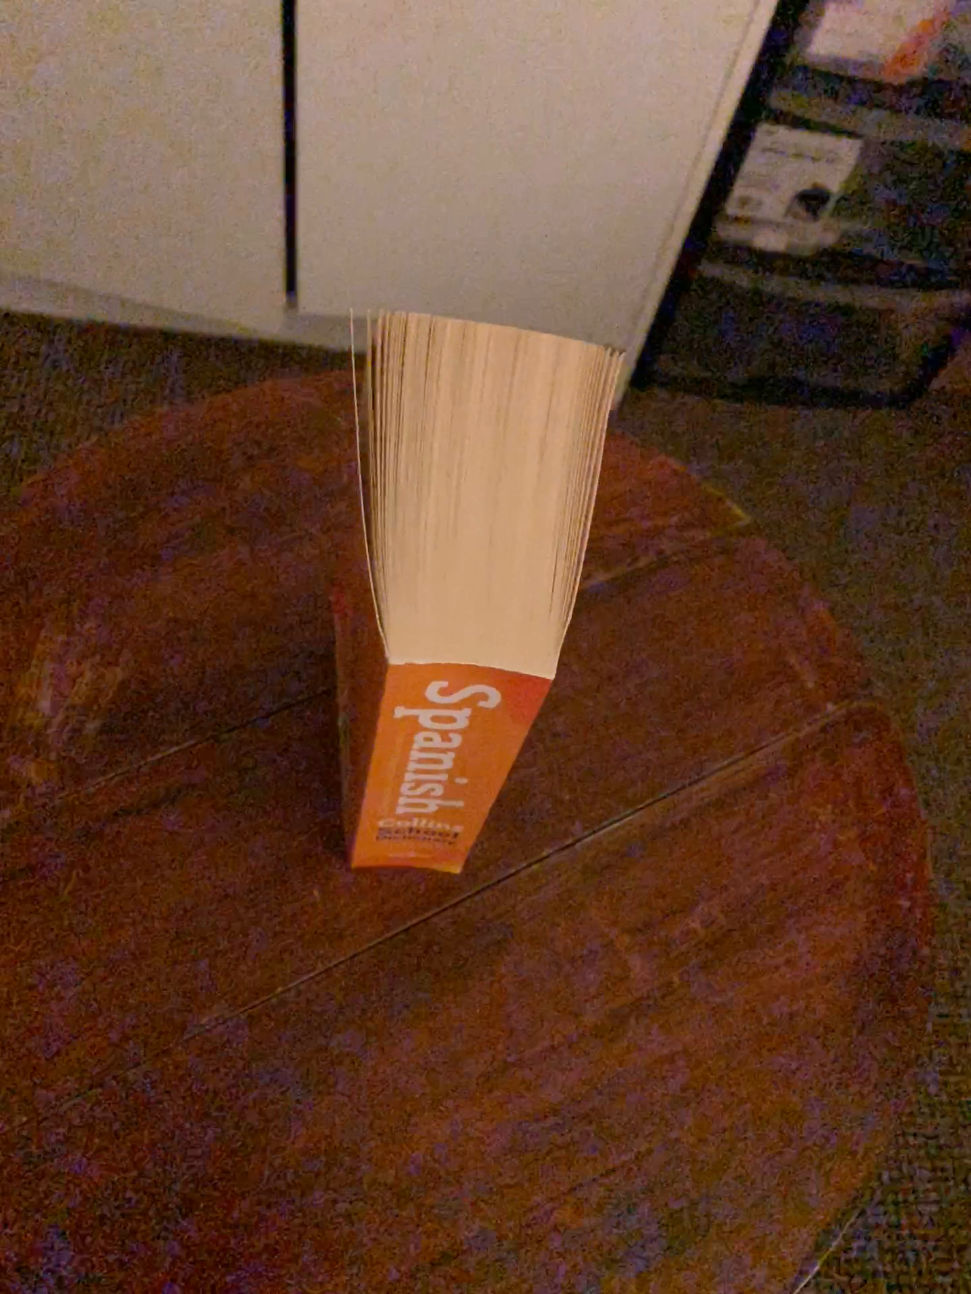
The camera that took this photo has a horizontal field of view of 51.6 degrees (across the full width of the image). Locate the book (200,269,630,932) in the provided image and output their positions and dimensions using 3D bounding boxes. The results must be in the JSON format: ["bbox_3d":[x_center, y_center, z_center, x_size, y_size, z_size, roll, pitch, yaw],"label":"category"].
[{"bbox_3d":[-0.010,-0.005,0.311,0.080,0.149,0.141,7,62,5],"label":"book"}]
